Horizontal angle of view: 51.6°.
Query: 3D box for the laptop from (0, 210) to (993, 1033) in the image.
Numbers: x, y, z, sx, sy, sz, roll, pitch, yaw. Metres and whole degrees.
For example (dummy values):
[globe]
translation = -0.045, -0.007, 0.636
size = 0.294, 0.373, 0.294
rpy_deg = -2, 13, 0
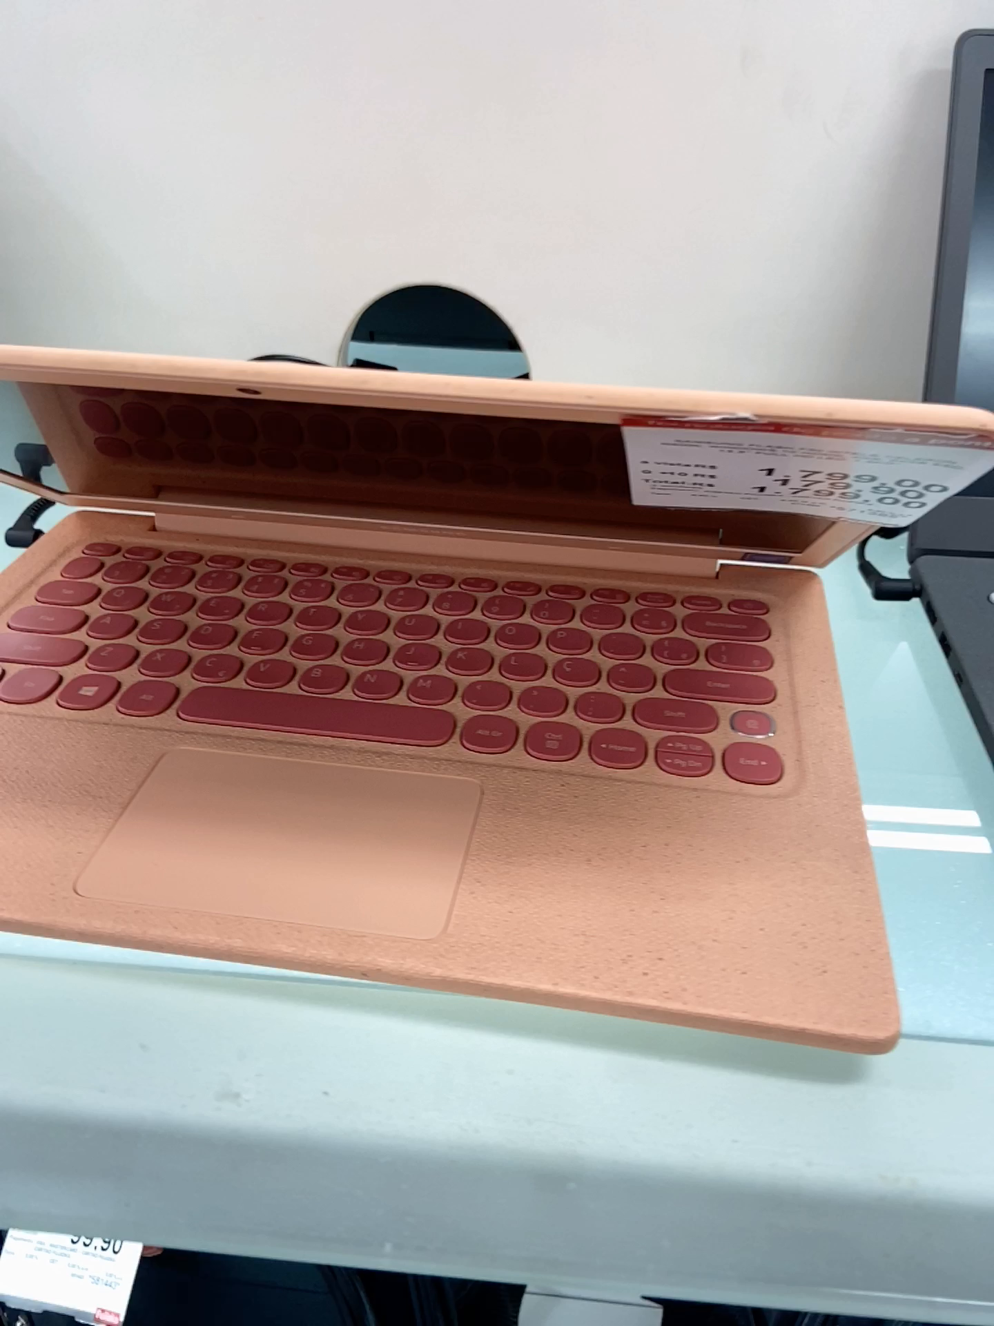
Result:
[laptop]
translation = -0.050, -0.042, 0.310
size = 0.323, 0.129, 0.212
rpy_deg = 5, 34, 8
